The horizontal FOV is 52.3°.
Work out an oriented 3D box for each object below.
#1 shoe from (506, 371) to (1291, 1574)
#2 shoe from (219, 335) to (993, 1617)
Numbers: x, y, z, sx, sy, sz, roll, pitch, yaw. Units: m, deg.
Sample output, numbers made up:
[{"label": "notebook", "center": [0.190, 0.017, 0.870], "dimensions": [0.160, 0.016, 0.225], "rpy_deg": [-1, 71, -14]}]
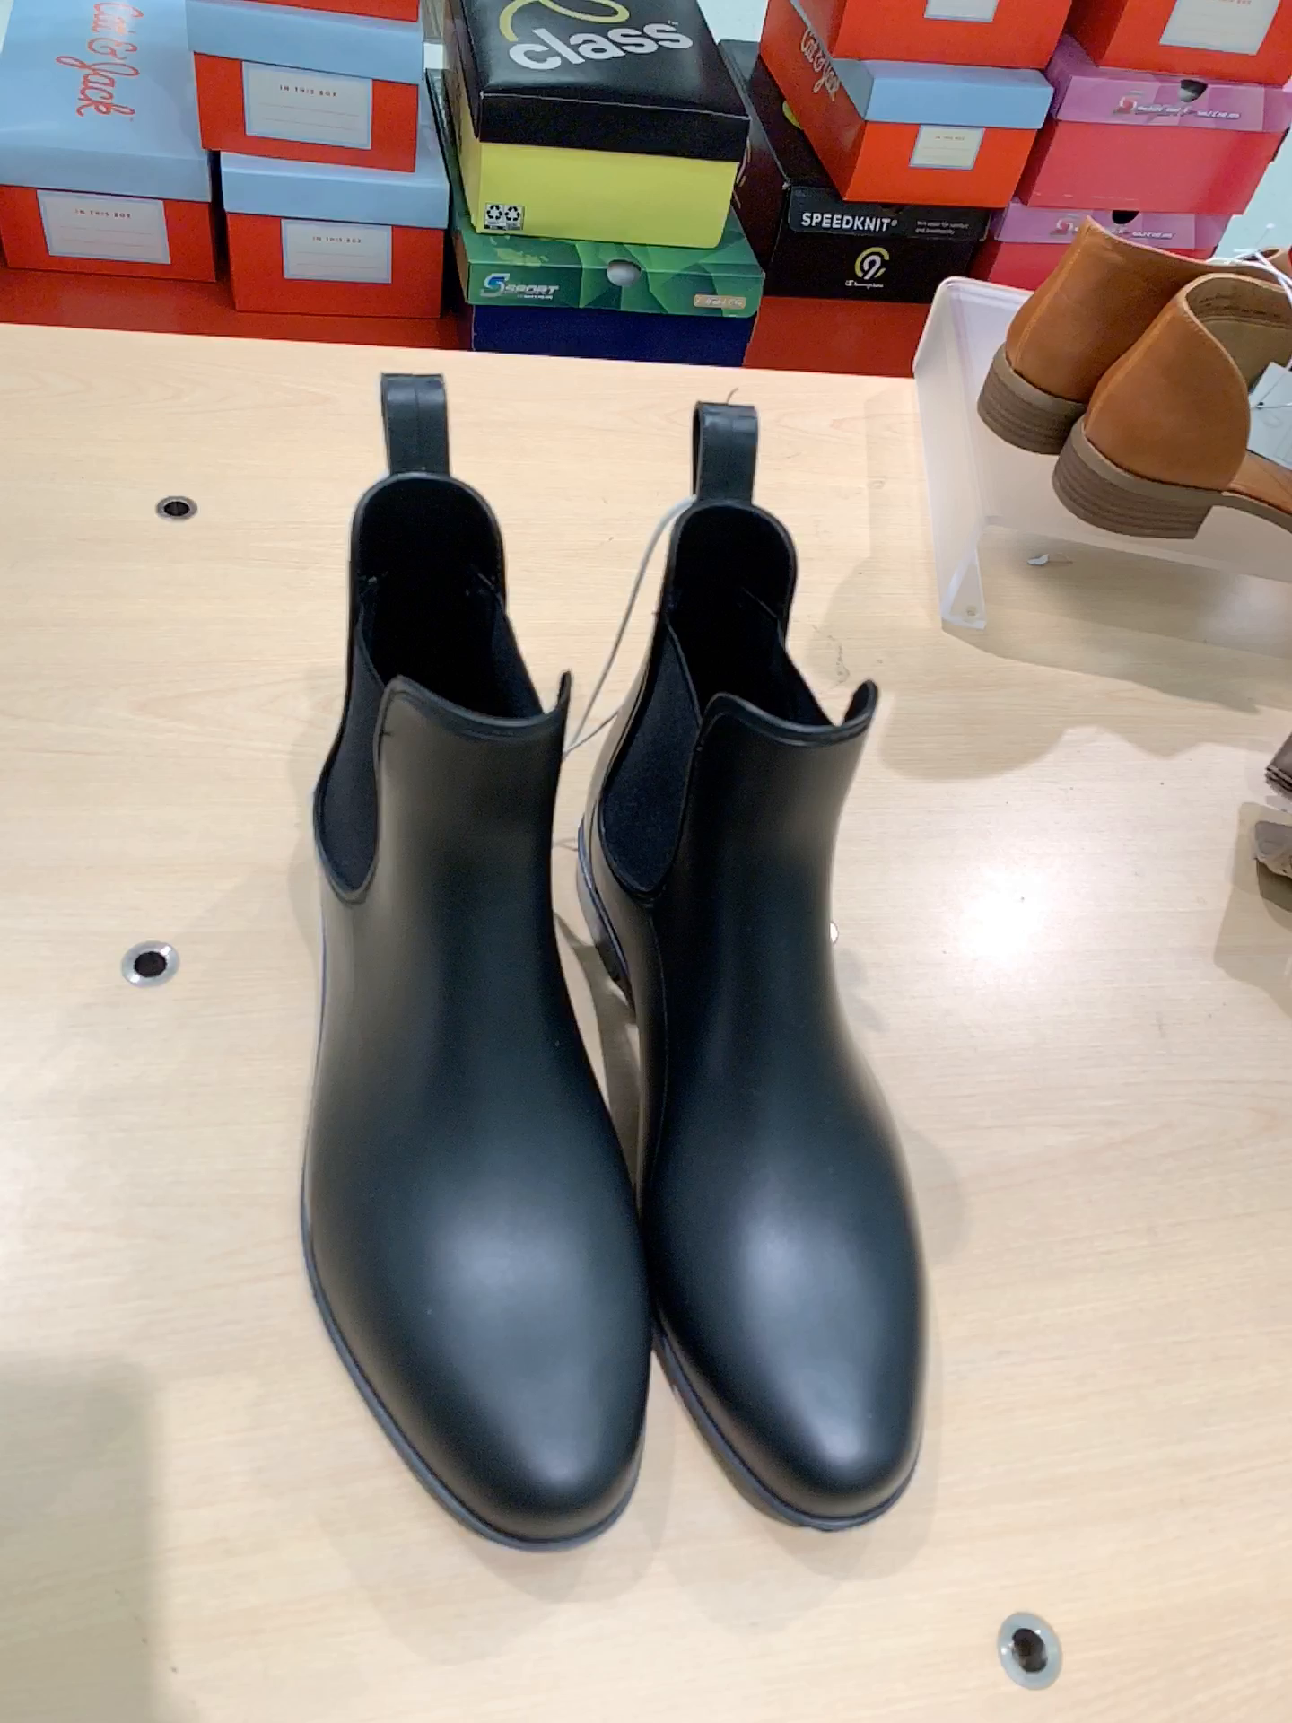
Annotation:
[{"label": "shoe", "center": [0.042, 0.026, 0.394], "dimensions": [0.100, 0.199, 0.287], "rpy_deg": [-6, 54, -16]}, {"label": "shoe", "center": [-0.045, 0.025, 0.373], "dimensions": [0.113, 0.202, 0.287], "rpy_deg": [-6, 54, -16]}]
